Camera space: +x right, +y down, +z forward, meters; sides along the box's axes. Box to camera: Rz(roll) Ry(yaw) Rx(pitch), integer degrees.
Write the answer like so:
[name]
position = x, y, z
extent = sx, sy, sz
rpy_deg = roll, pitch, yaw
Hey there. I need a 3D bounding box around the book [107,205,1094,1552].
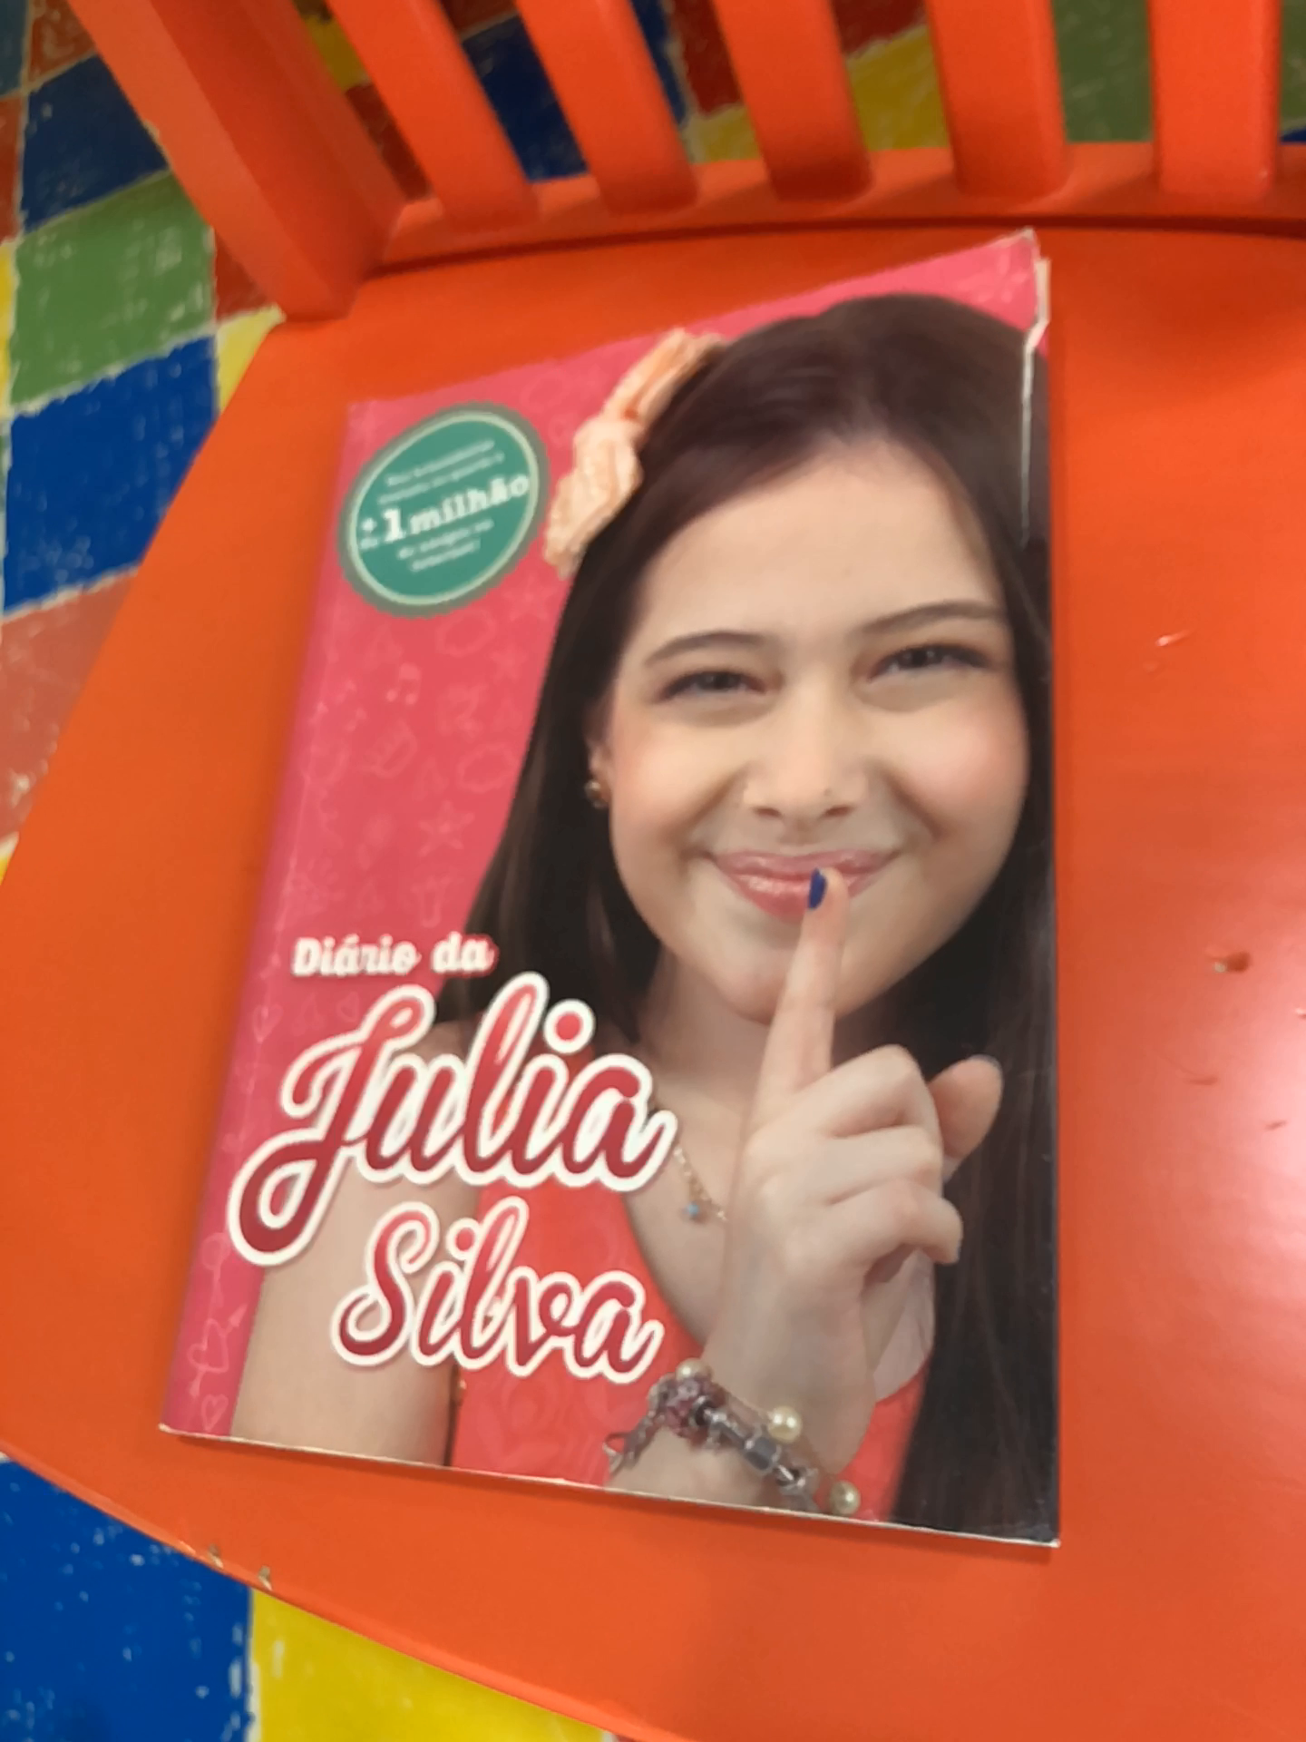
[book]
position = -0.004, -0.012, 0.286
extent = 0.171, 0.020, 0.241
rpy_deg = -2, 69, 21
